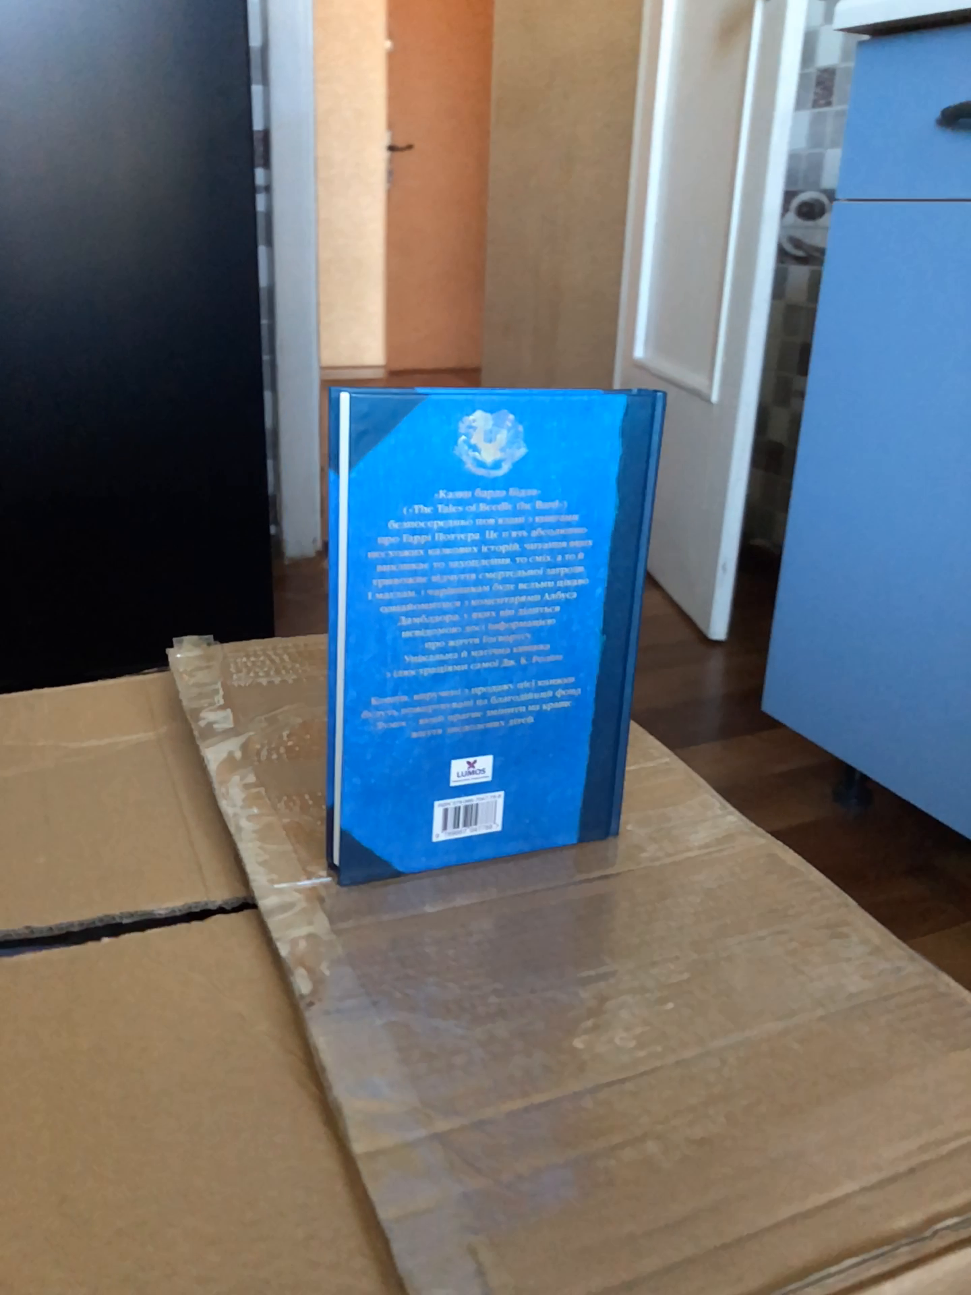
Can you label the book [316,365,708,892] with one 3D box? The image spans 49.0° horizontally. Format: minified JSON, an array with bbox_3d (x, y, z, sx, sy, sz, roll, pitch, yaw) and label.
[{"bbox_3d":[0.008,-0.008,0.427,0.144,0.199,0.030,-6,23,-21],"label":"book"}]
